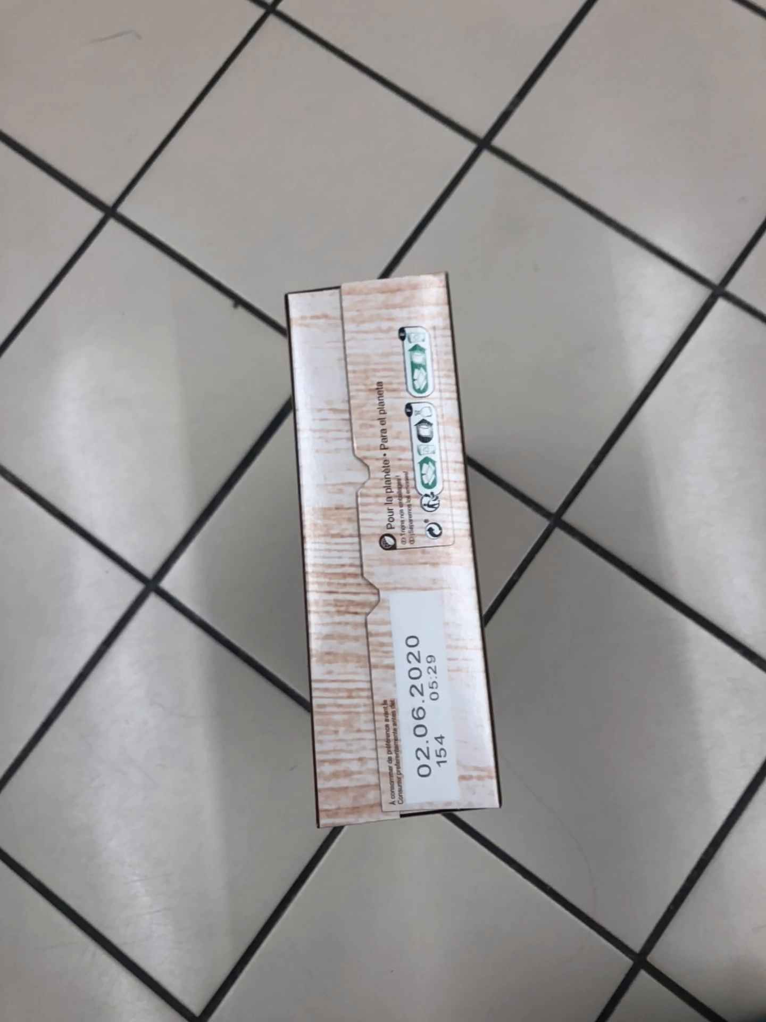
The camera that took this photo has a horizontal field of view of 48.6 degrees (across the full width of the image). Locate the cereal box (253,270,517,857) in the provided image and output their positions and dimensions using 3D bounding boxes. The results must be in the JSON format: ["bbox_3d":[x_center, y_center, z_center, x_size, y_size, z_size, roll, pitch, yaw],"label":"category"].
[{"bbox_3d":[0.005,0.035,0.437,0.070,0.280,0.200,-7,81,2],"label":"cereal box"}]
